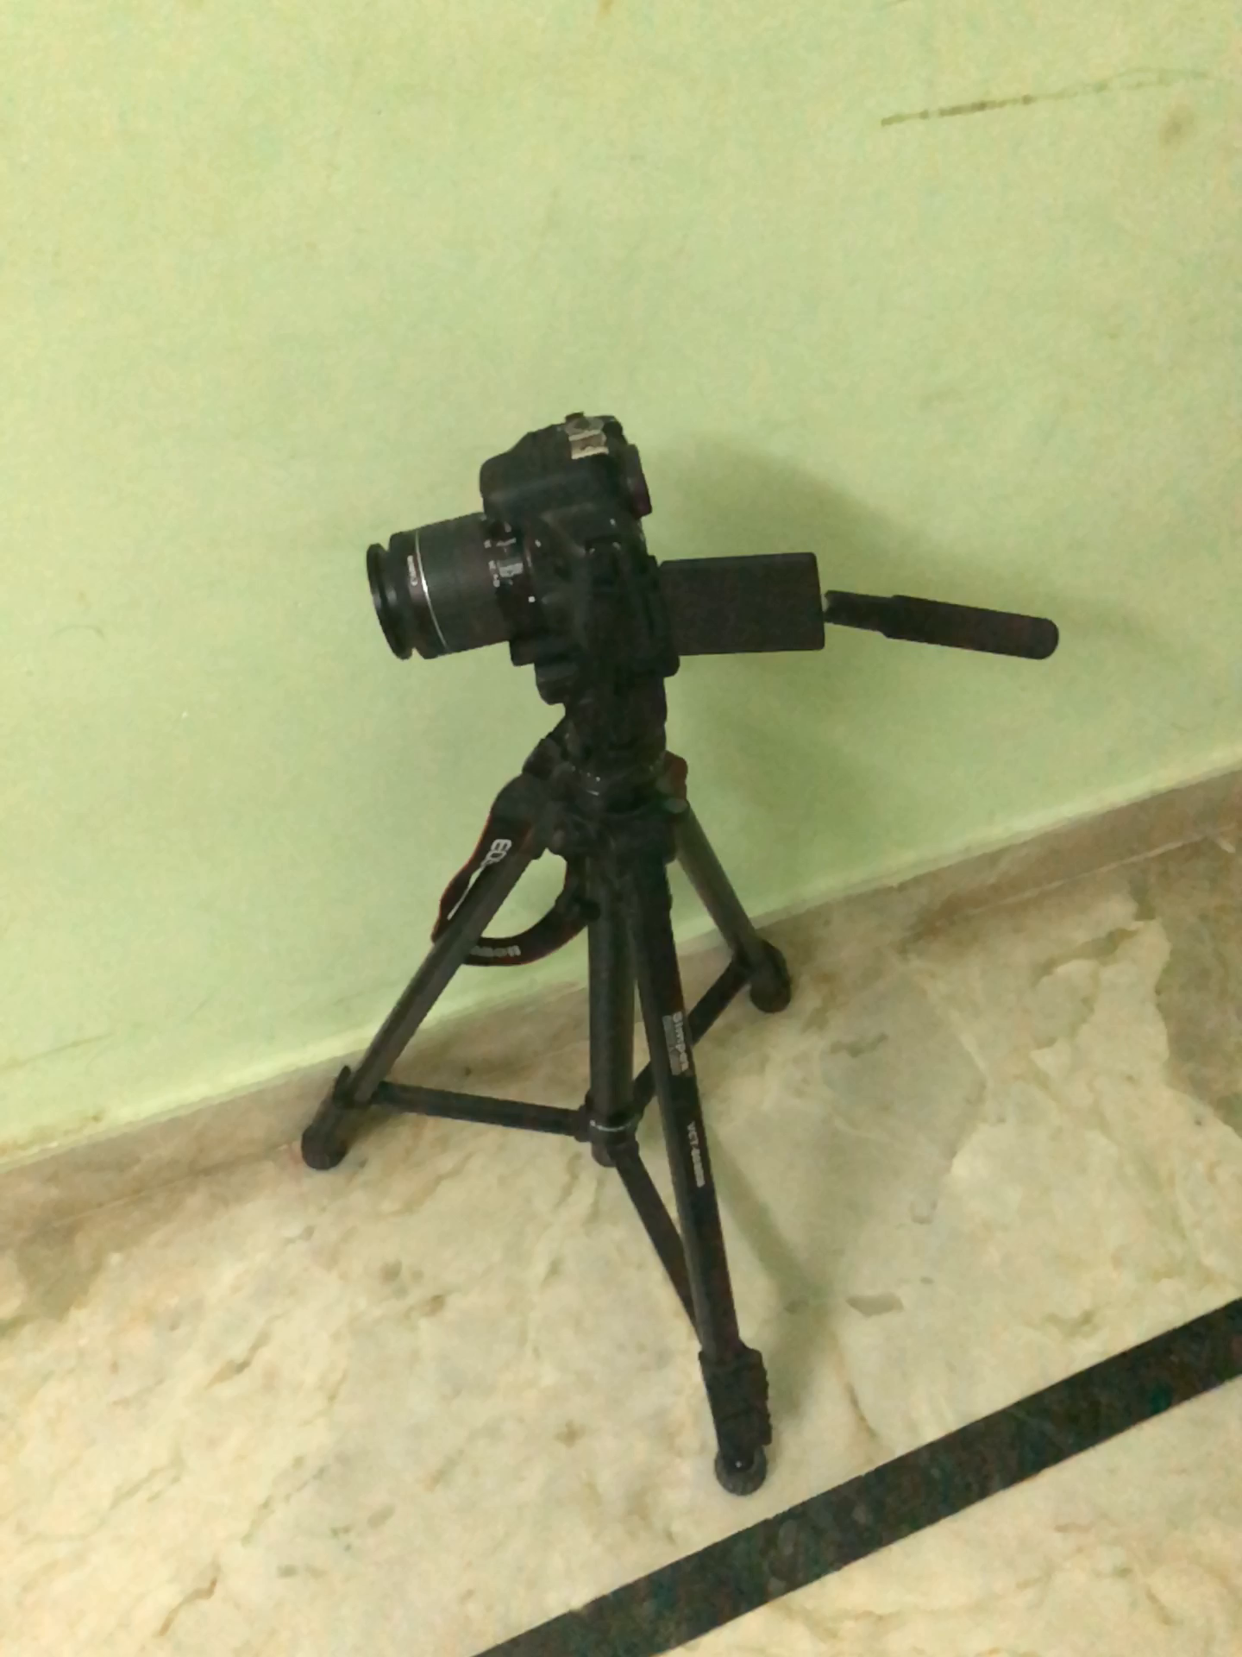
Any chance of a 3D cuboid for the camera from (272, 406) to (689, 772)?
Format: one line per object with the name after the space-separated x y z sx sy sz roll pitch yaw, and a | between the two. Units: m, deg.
-0.075 -0.131 0.730 0.190 0.099 0.131 -13 46 -5 | camera
